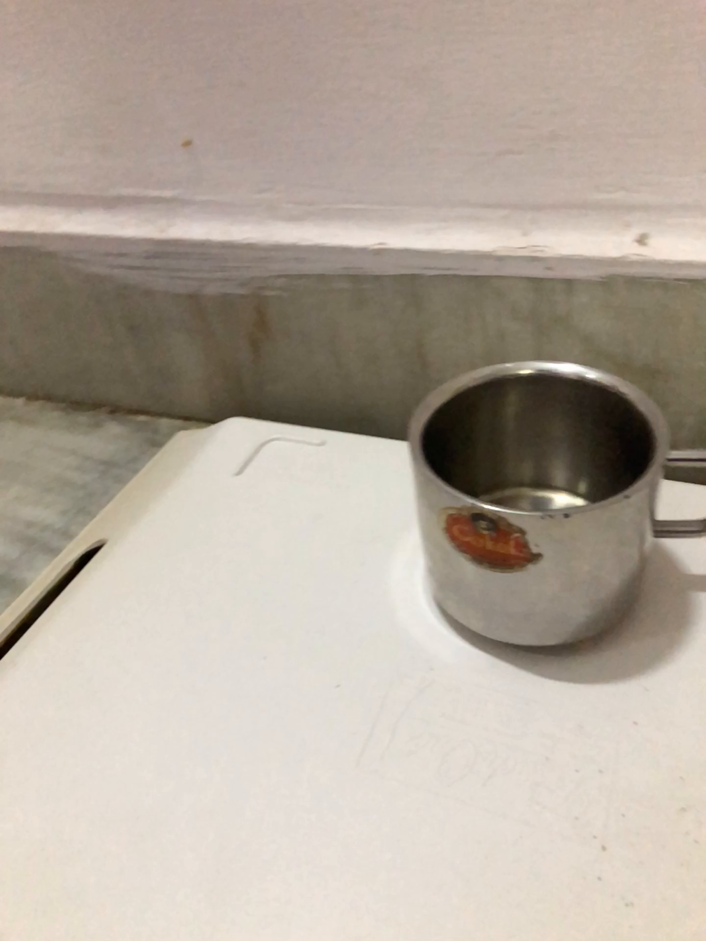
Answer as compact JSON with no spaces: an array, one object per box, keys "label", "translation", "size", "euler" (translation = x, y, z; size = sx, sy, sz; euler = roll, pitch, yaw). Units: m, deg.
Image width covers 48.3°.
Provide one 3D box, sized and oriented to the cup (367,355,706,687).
[{"label":"cup","translation":[0.064,0.009,0.233],"size":[0.100,0.050,0.081],"euler":[3,39,15]}]
